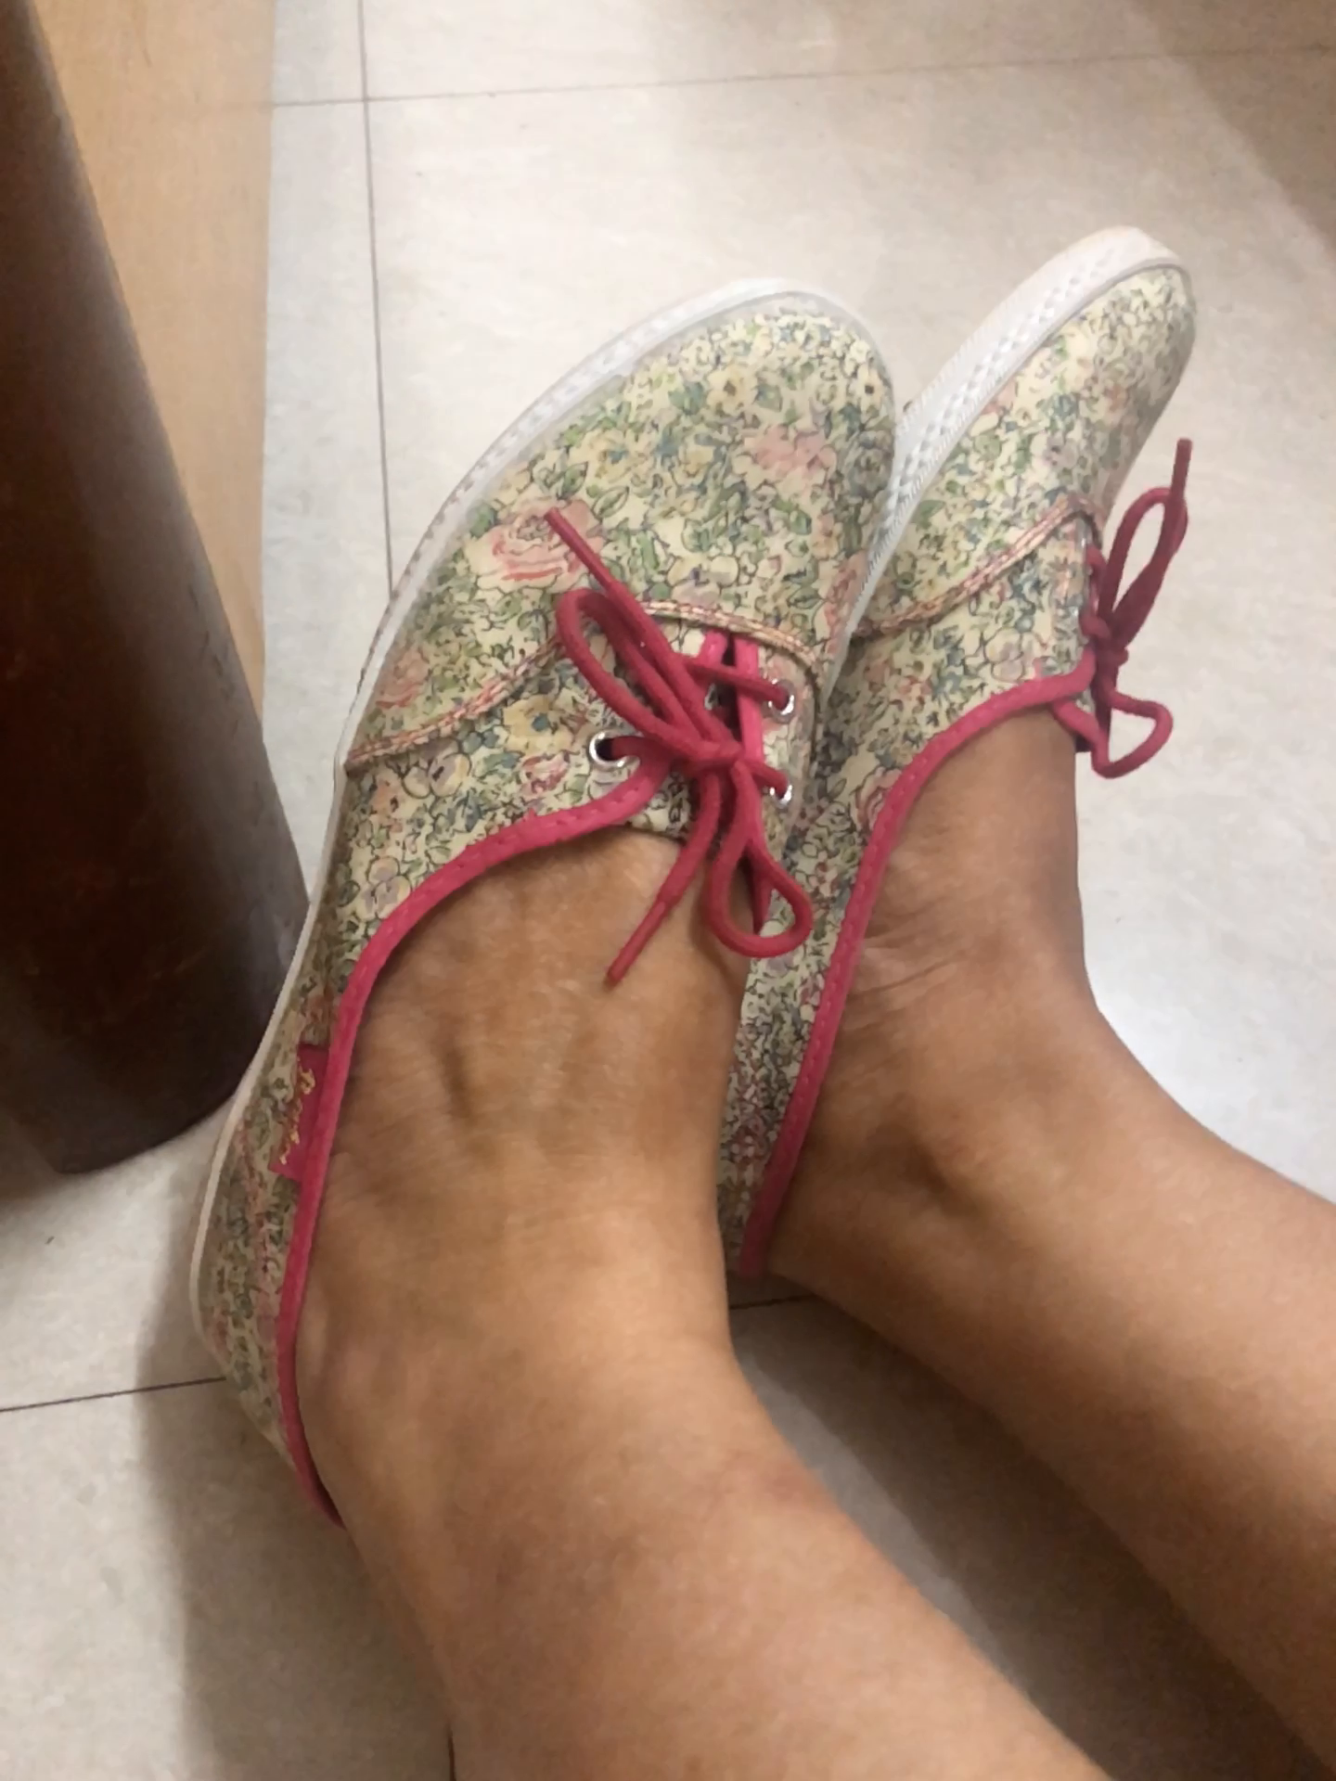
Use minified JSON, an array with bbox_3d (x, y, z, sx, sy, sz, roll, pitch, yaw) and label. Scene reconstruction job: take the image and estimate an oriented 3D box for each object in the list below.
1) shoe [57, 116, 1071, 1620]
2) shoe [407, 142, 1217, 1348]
[{"bbox_3d":[-0.023,0.003,0.292,0.070,0.090,0.260,25,94,55],"label":"shoe"},{"bbox_3d":[0.041,-0.030,0.359,0.070,0.090,0.260,24,91,28],"label":"shoe"}]
